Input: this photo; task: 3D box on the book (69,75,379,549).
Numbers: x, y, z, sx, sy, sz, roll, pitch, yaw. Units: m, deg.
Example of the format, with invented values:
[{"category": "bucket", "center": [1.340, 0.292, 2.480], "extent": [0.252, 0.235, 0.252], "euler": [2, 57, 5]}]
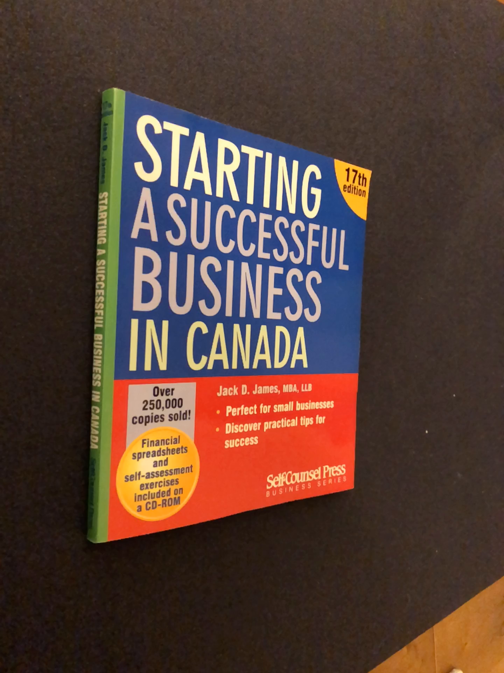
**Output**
[{"category": "book", "center": [-0.005, -0.009, 0.370], "extent": [0.211, 0.040, 0.247], "euler": [3, 90, -39]}]
